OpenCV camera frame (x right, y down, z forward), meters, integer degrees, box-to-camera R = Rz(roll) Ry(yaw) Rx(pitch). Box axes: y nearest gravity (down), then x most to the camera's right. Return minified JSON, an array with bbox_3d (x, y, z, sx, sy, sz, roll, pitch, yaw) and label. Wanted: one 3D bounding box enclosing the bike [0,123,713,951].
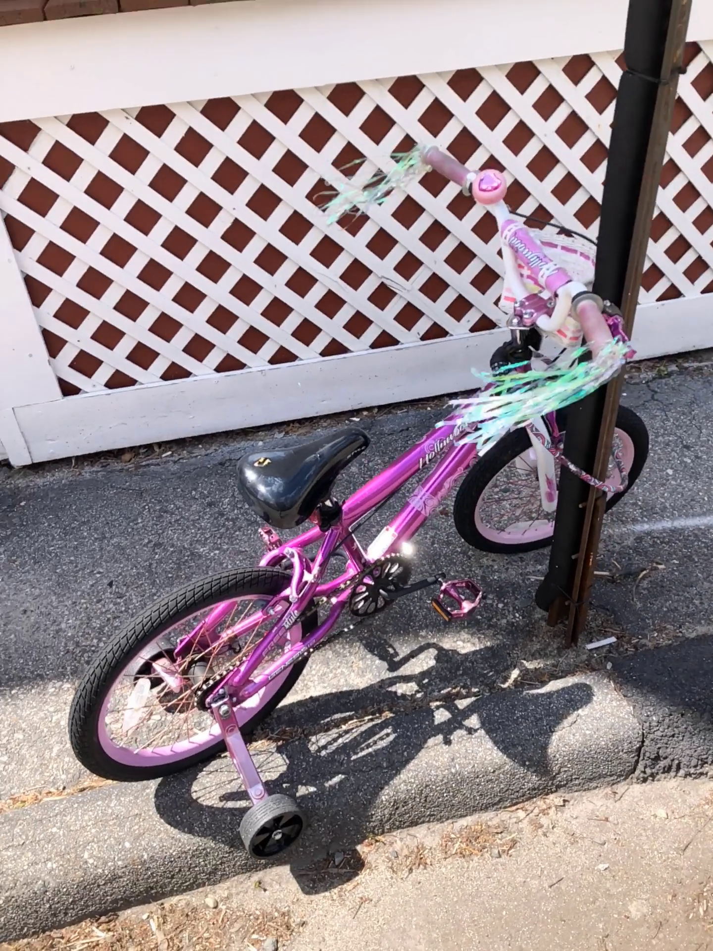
[{"bbox_3d":[0.081,0.019,1.308,1.227,0.869,0.617,-22,40,-24],"label":"bike"}]
